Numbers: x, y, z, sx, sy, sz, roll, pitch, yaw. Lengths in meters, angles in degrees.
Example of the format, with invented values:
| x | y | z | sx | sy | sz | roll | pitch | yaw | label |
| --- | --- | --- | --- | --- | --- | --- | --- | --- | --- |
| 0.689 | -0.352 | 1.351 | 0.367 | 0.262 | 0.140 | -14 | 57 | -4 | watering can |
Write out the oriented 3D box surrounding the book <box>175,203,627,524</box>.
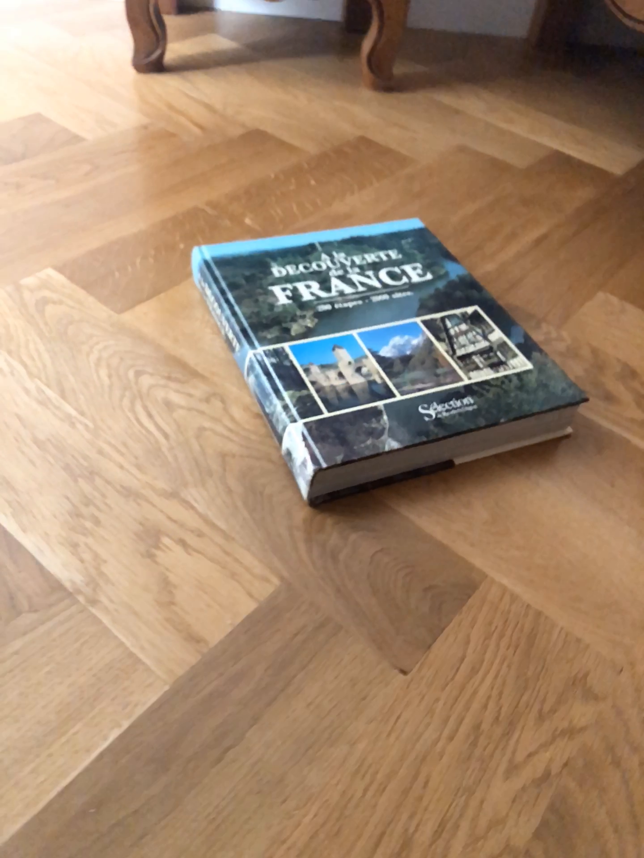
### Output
| x | y | z | sx | sy | sz | roll | pitch | yaw | label |
| --- | --- | --- | --- | --- | --- | --- | --- | --- | --- |
| 0.045 | -0.080 | 0.571 | 0.251 | 0.040 | 0.291 | -13 | 49 | -21 | book |
